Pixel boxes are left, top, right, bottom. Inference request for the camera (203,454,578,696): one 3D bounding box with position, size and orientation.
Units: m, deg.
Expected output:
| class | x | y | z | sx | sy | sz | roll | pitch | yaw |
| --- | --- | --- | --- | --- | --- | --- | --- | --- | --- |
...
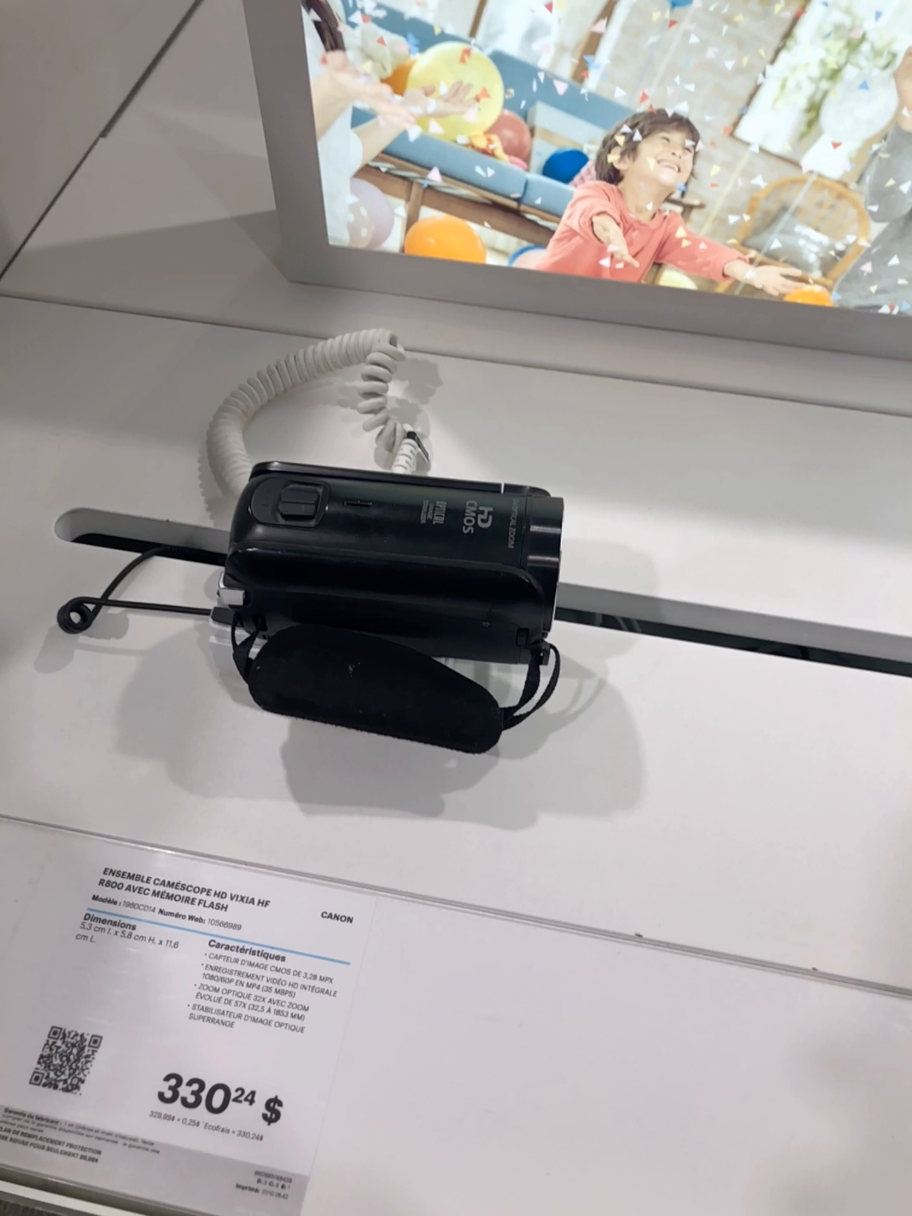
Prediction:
| class | x | y | z | sx | sy | sz | roll | pitch | yaw |
| --- | --- | --- | --- | --- | --- | --- | --- | --- | --- |
| camera | -0.019 | -0.011 | 0.342 | 0.113 | 0.050 | 0.050 | 6 | 53 | 5 |
